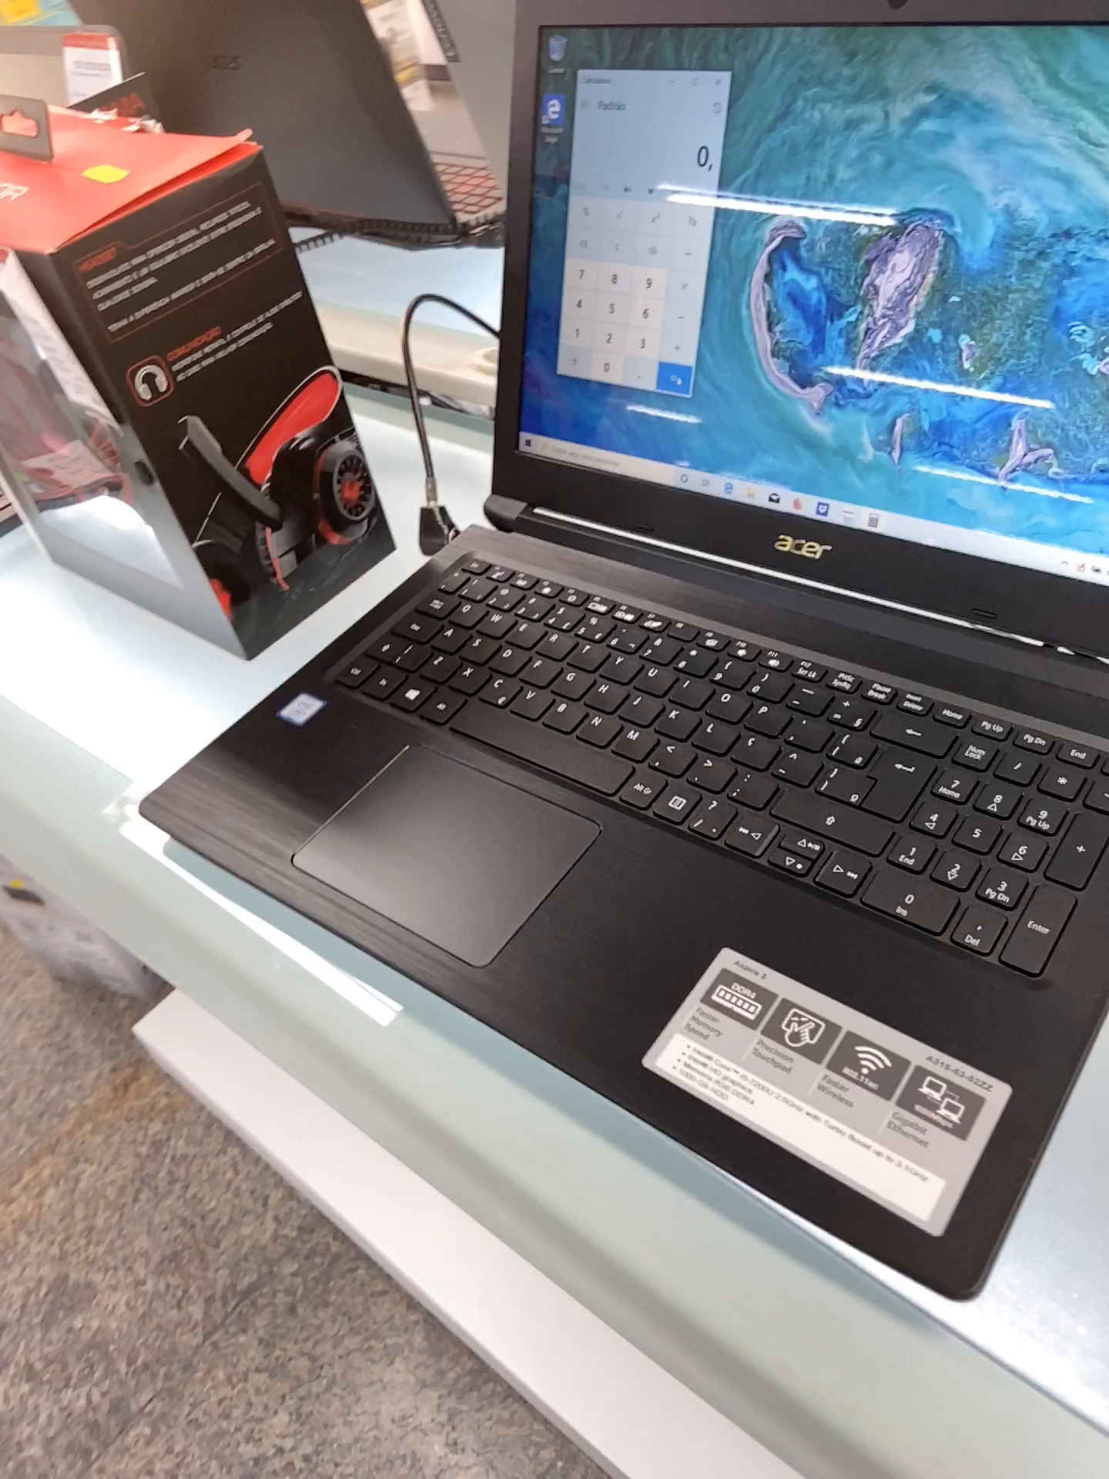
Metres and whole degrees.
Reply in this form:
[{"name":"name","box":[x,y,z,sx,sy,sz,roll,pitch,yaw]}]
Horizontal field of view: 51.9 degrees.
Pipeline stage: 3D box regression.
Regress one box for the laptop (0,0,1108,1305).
[{"name":"laptop","box":[0.047,-0.102,0.413,0.375,0.227,0.354,22,53,33]}]
